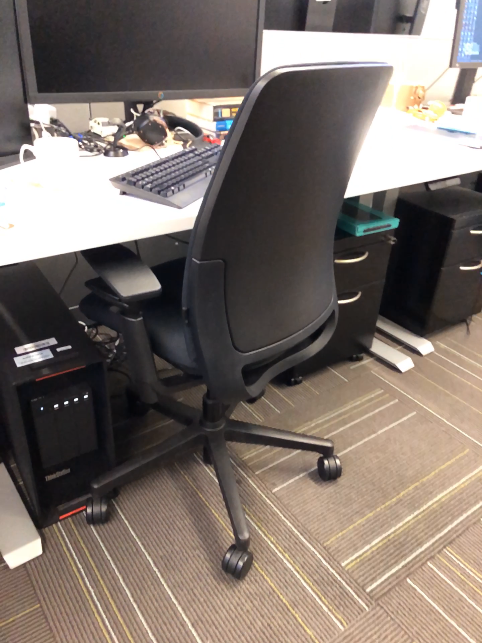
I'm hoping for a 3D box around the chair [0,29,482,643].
[{"bbox_3d":[-0.066,-0.053,1.228,0.722,1.044,0.712,28,38,36],"label":"chair"}]
